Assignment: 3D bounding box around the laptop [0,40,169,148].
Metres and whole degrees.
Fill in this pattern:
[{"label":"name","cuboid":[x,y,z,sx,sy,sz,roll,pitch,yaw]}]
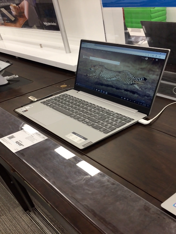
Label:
[{"label":"laptop","cuboid":[-0.013,-0.104,0.738,0.333,0.194,0.343,-30,40,-31]}]
